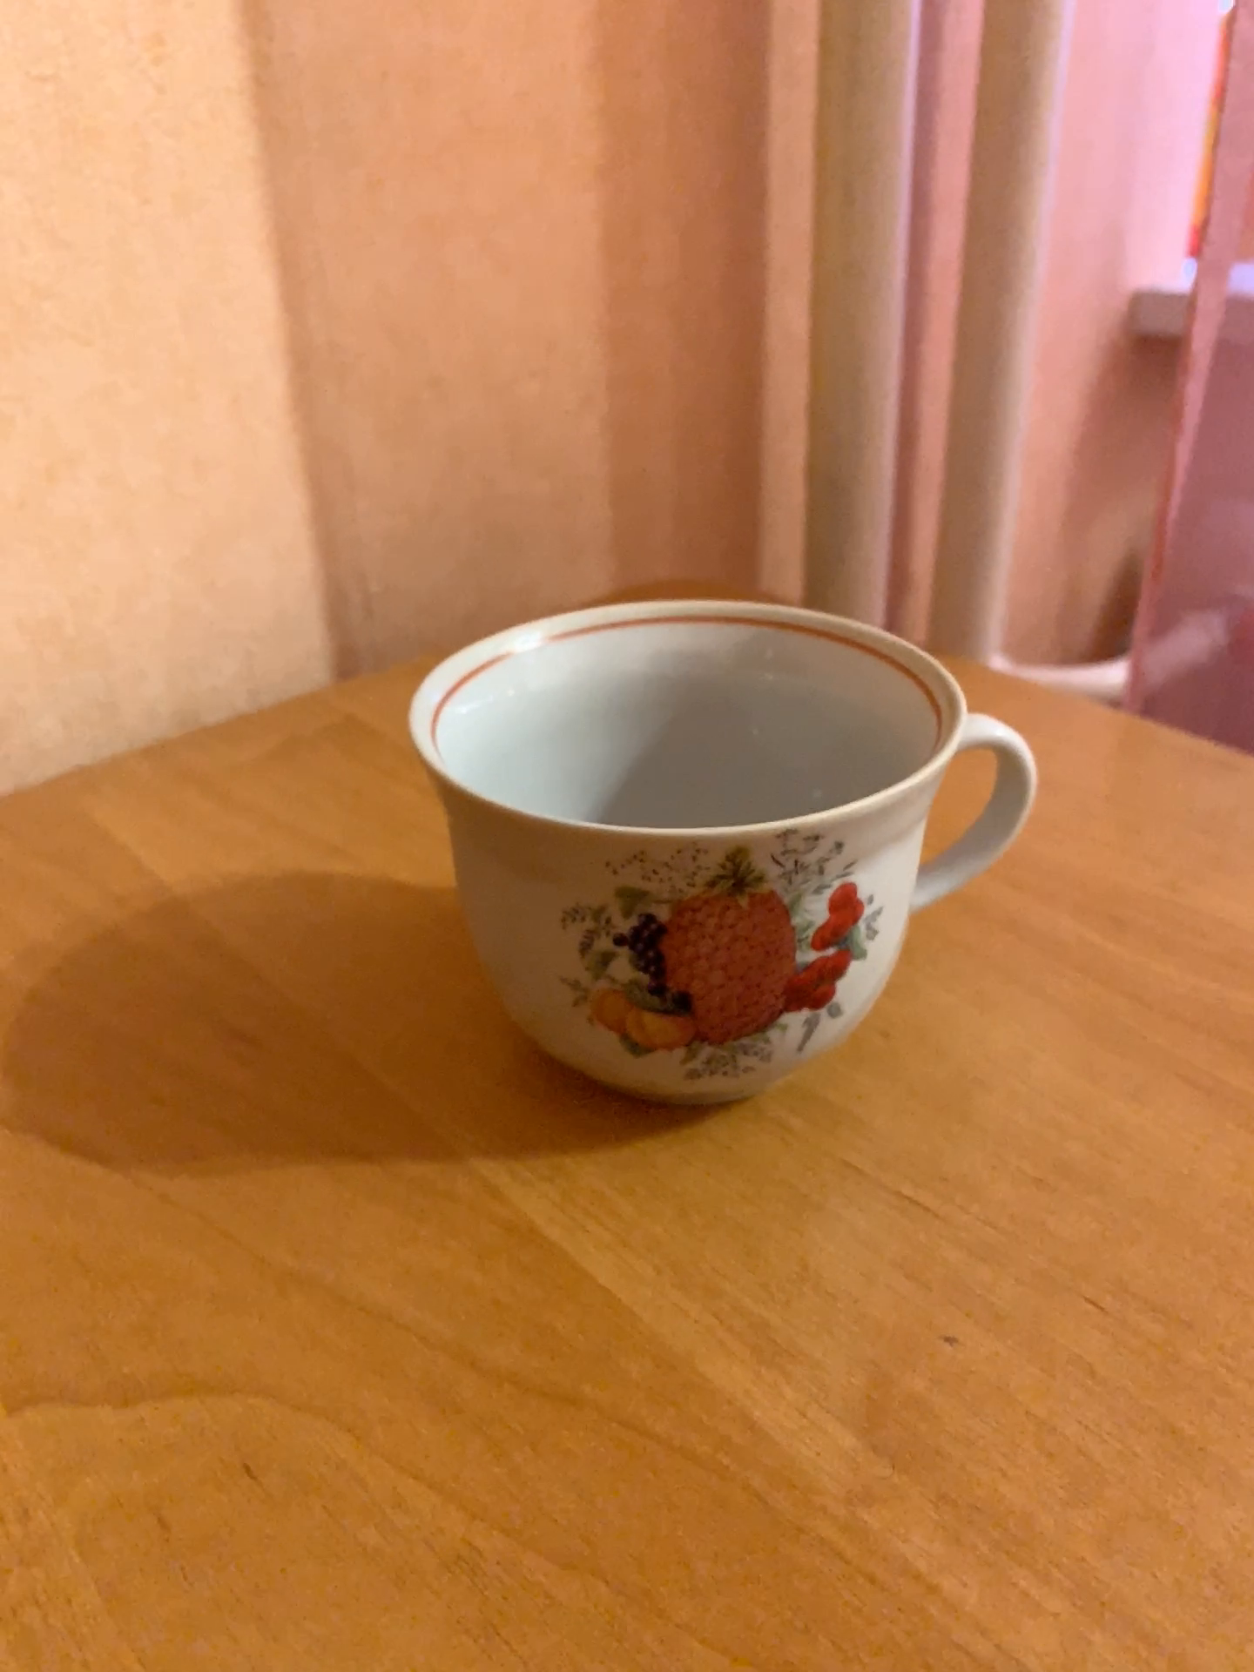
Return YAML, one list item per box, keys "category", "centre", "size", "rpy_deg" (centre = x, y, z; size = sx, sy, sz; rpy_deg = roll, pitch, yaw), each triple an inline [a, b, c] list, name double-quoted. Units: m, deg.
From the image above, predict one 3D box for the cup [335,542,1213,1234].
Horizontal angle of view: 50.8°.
- category: "cup"
  centre: [0.020, -0.002, 0.219]
  size: [0.109, 0.056, 0.083]
  rpy_deg: [-16, 32, -22]
